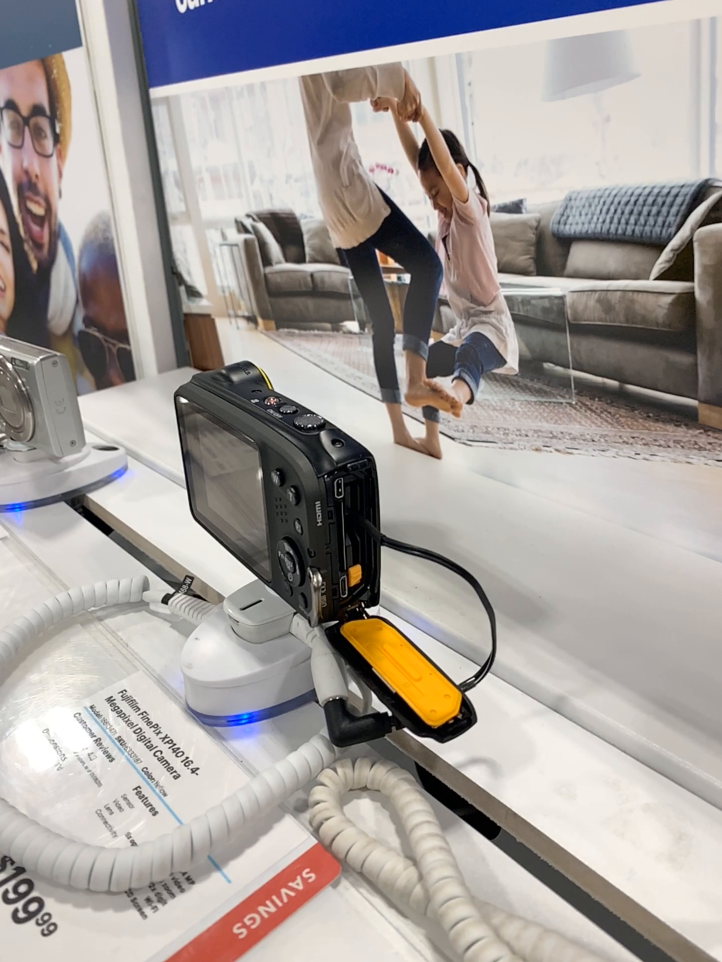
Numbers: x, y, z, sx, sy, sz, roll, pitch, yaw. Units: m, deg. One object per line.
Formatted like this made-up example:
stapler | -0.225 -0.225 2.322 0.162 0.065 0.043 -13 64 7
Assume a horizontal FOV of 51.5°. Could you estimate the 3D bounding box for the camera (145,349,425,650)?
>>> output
camera | -0.031 -0.001 0.267 0.040 0.060 0.110 -19 34 -34
